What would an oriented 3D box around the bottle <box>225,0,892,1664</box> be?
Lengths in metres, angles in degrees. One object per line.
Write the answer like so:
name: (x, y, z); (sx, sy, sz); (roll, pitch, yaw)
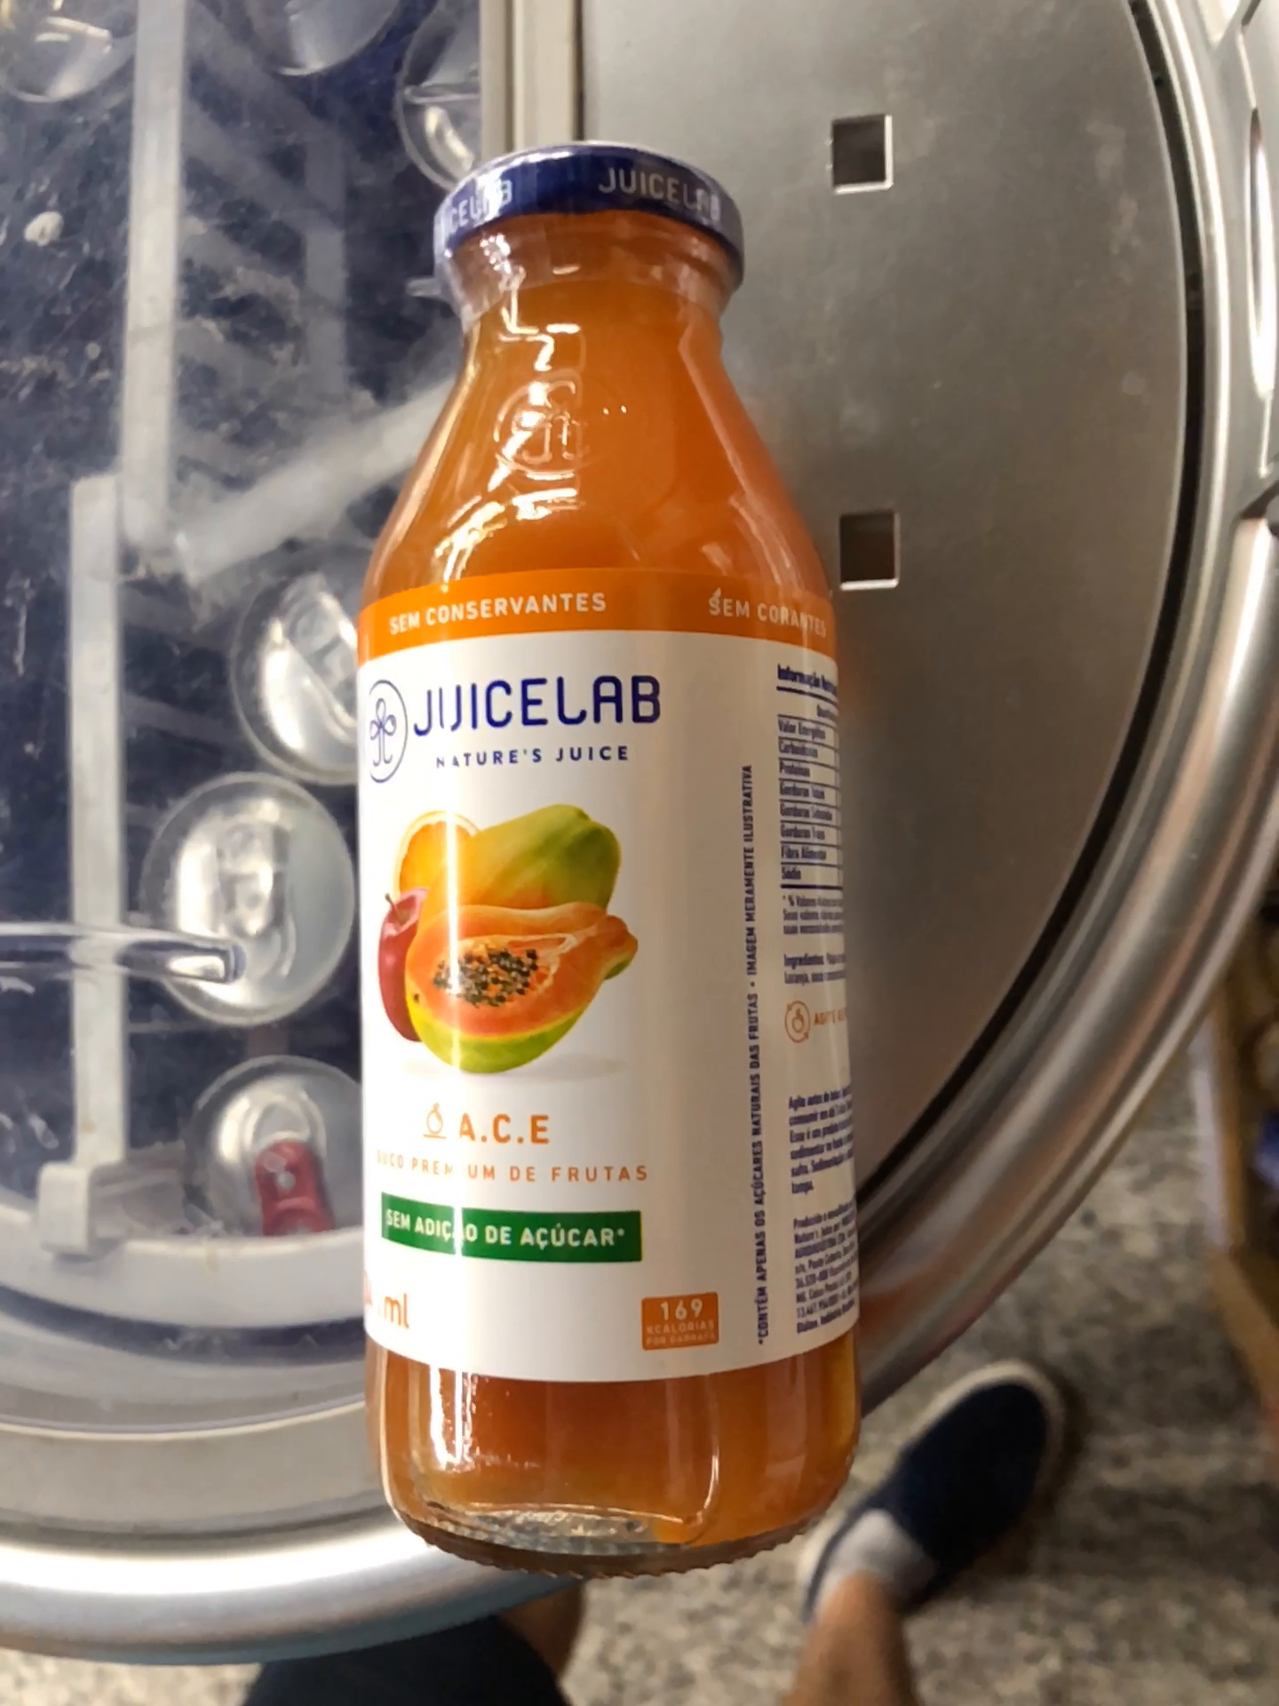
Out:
bottle: (-0.008, -0.012, 0.184); (0.070, 0.050, 0.190); (-1, 89, 19)
